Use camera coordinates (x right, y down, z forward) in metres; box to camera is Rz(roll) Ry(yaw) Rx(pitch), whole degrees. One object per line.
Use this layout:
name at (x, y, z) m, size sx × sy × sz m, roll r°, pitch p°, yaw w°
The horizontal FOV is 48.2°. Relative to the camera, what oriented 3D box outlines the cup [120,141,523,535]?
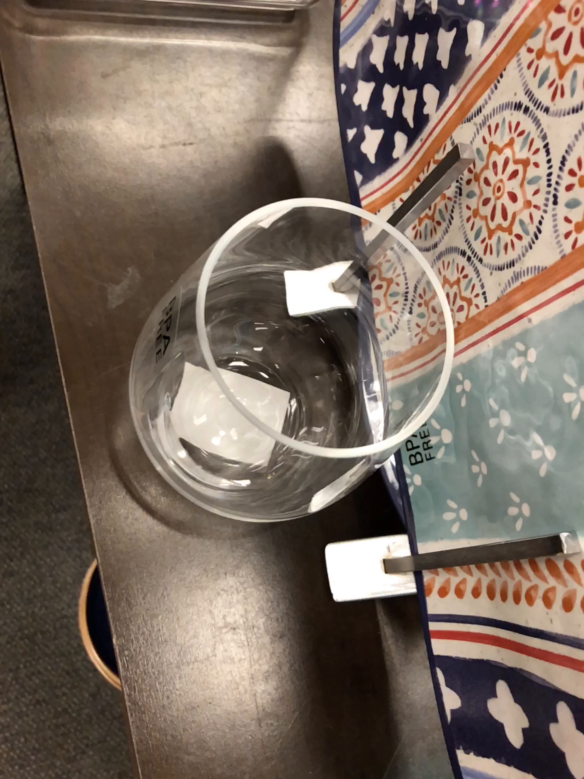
cup at (-0.003, -0.007, 0.214) m, size 0.094 × 0.097 × 0.094 m, roll 4°, pitch 75°, yaw -17°
